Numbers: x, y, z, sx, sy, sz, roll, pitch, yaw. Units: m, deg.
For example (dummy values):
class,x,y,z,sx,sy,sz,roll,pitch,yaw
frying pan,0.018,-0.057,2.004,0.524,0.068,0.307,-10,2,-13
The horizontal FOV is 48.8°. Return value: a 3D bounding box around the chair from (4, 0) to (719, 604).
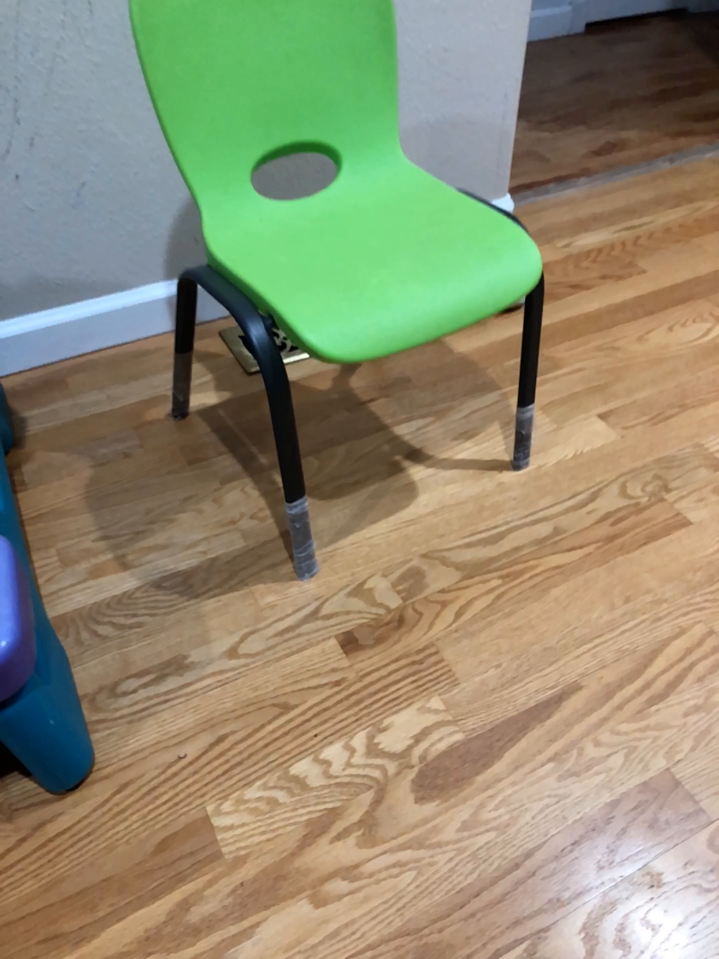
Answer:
class,x,y,z,sx,sy,sz,roll,pitch,yaw
chair,-0.003,-0.302,0.917,0.511,0.557,0.482,-24,48,-22
